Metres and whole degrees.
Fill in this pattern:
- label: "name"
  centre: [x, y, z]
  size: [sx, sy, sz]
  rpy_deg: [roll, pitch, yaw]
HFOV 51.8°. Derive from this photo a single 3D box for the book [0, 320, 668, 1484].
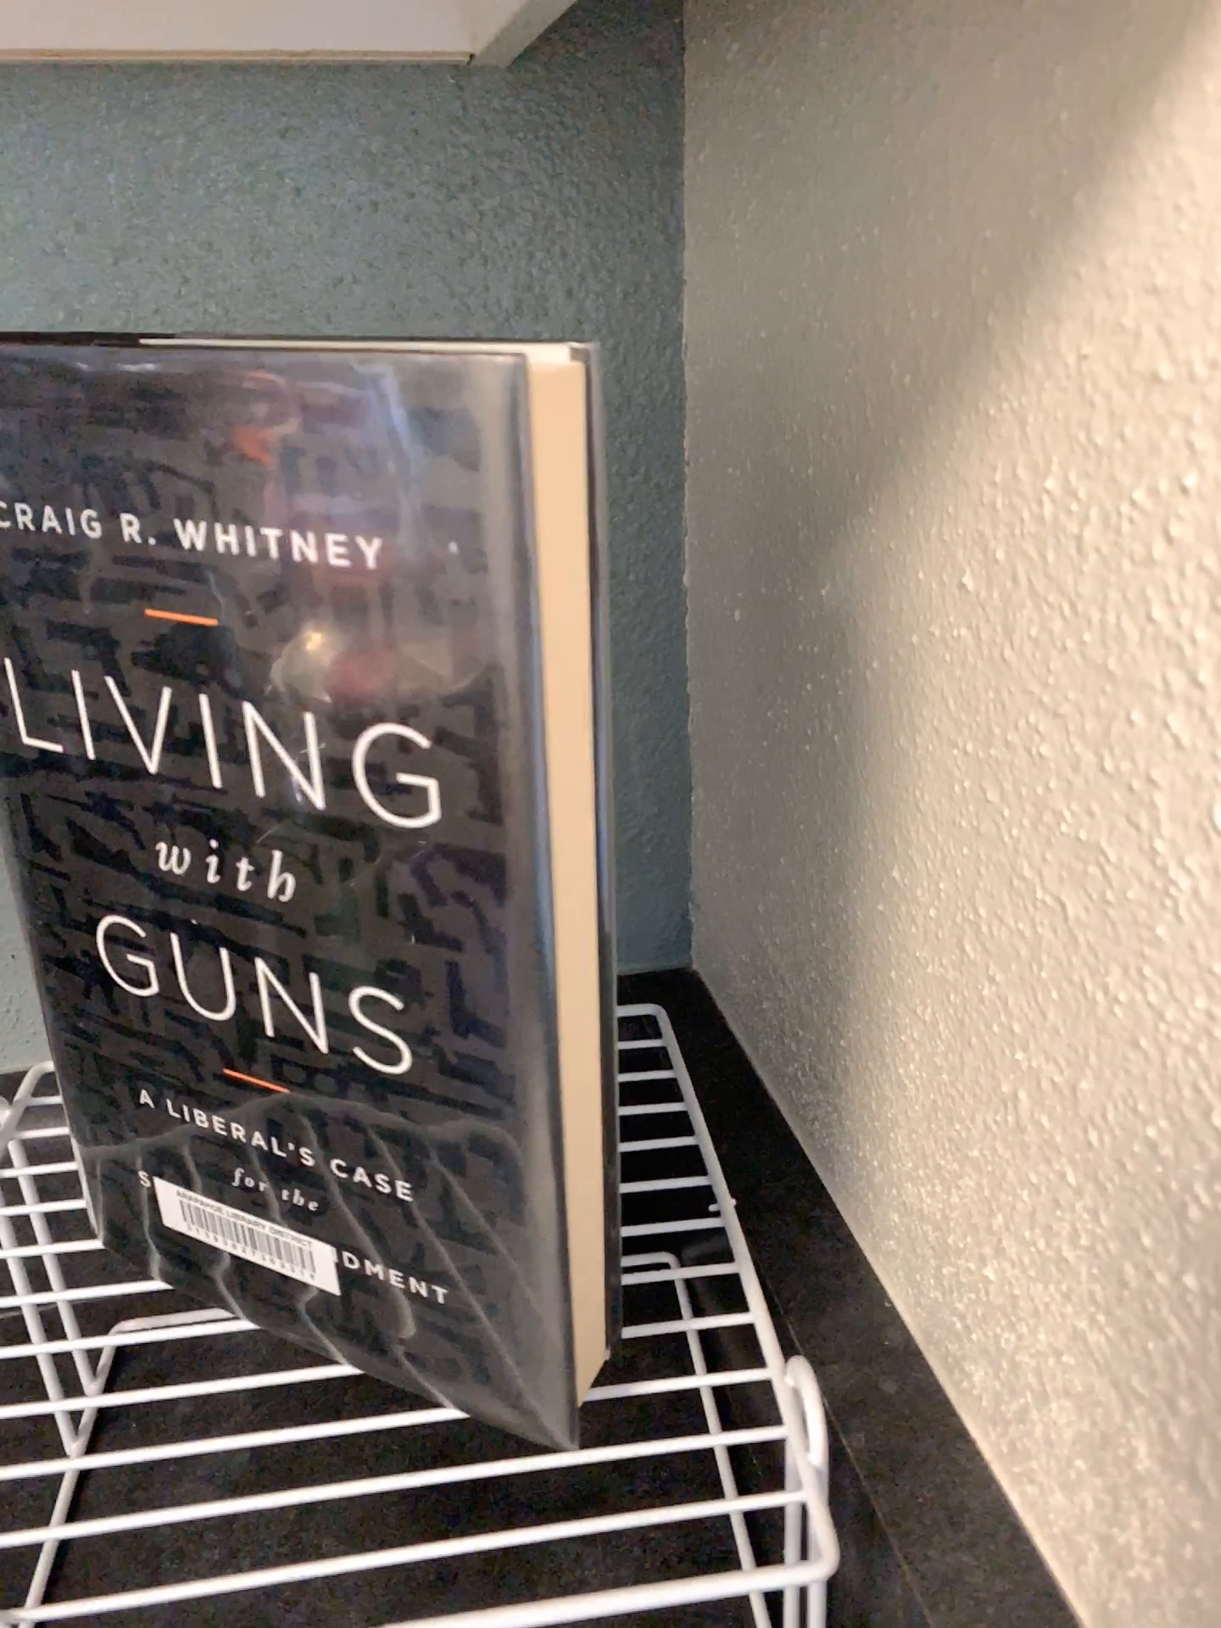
- label: "book"
  centre: [-0.073, 0.015, 0.285]
  size: [0.171, 0.229, 0.040]
  rpy_deg: [9, 21, 27]
